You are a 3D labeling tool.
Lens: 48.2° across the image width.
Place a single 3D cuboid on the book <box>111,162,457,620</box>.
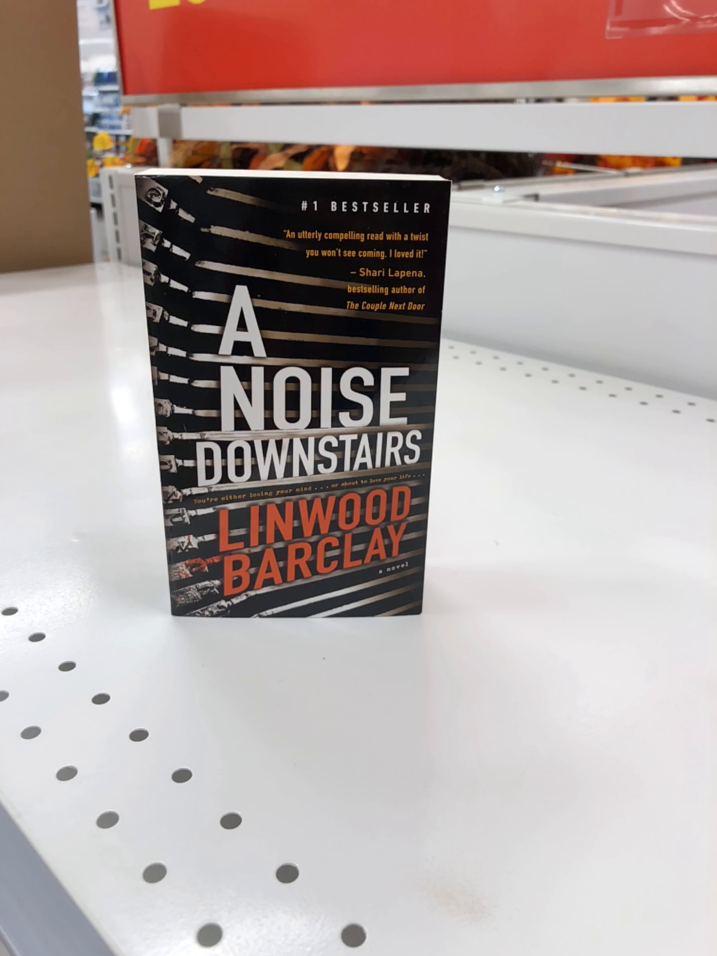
[{"bbox_3d":[-0.024,-0.029,0.308,0.110,0.170,0.041,0,25,0],"label":"book"}]
